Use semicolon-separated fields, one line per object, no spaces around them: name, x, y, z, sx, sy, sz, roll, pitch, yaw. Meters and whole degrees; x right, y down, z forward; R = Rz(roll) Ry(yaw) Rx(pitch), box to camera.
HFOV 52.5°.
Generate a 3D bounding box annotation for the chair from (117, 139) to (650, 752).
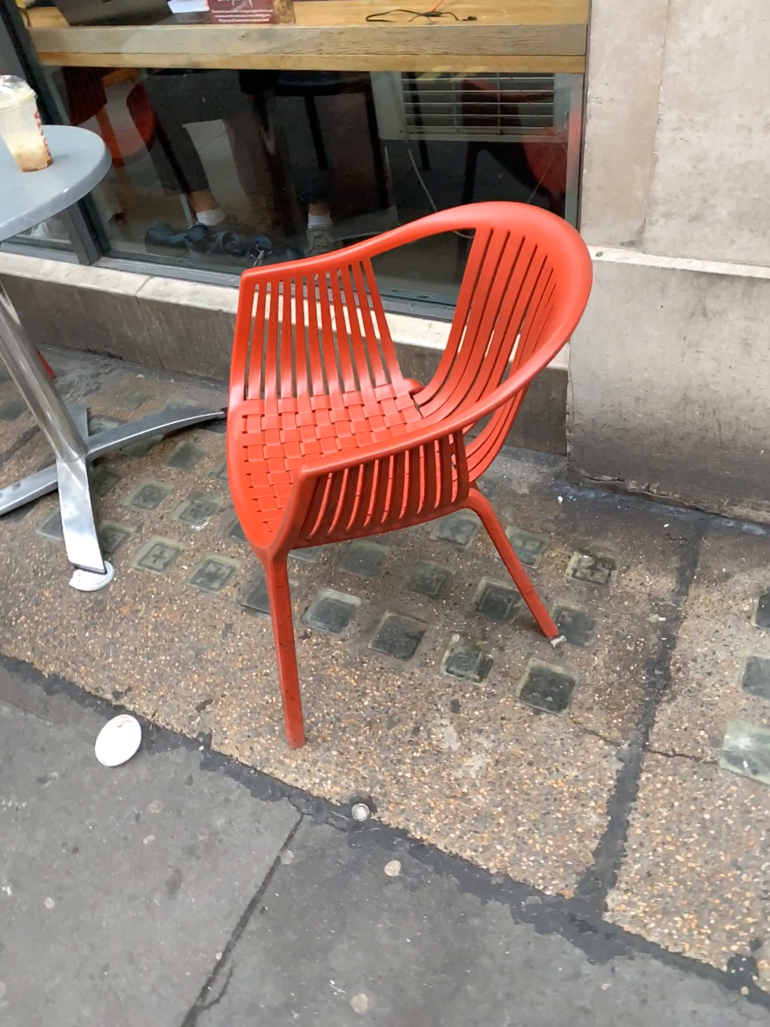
chair;-0.017;-0.116;1.328;0.610;0.693;0.585;-16;44;-7
